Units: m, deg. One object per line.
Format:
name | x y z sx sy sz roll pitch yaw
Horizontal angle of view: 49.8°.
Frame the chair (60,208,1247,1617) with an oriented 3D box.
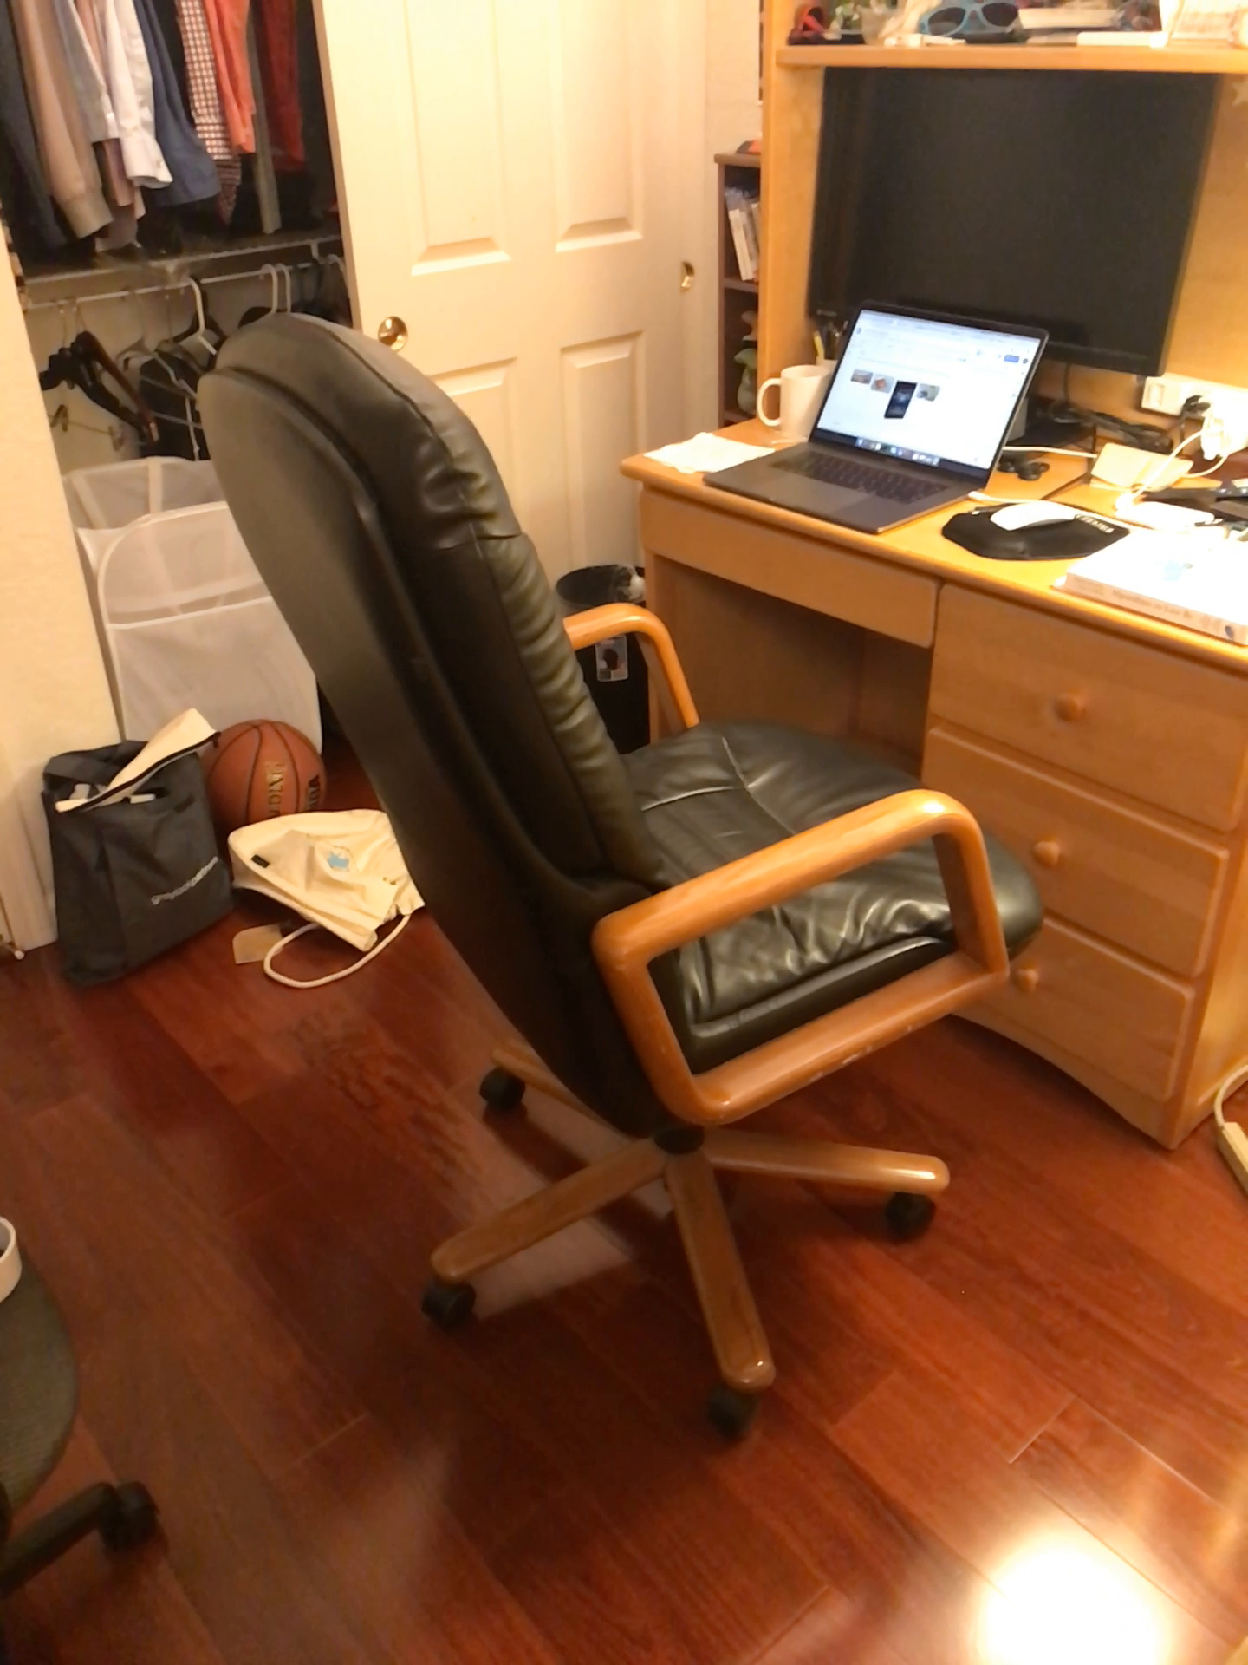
chair | -0.019 -0.037 1.607 0.852 1.141 0.995 -16 34 -23
